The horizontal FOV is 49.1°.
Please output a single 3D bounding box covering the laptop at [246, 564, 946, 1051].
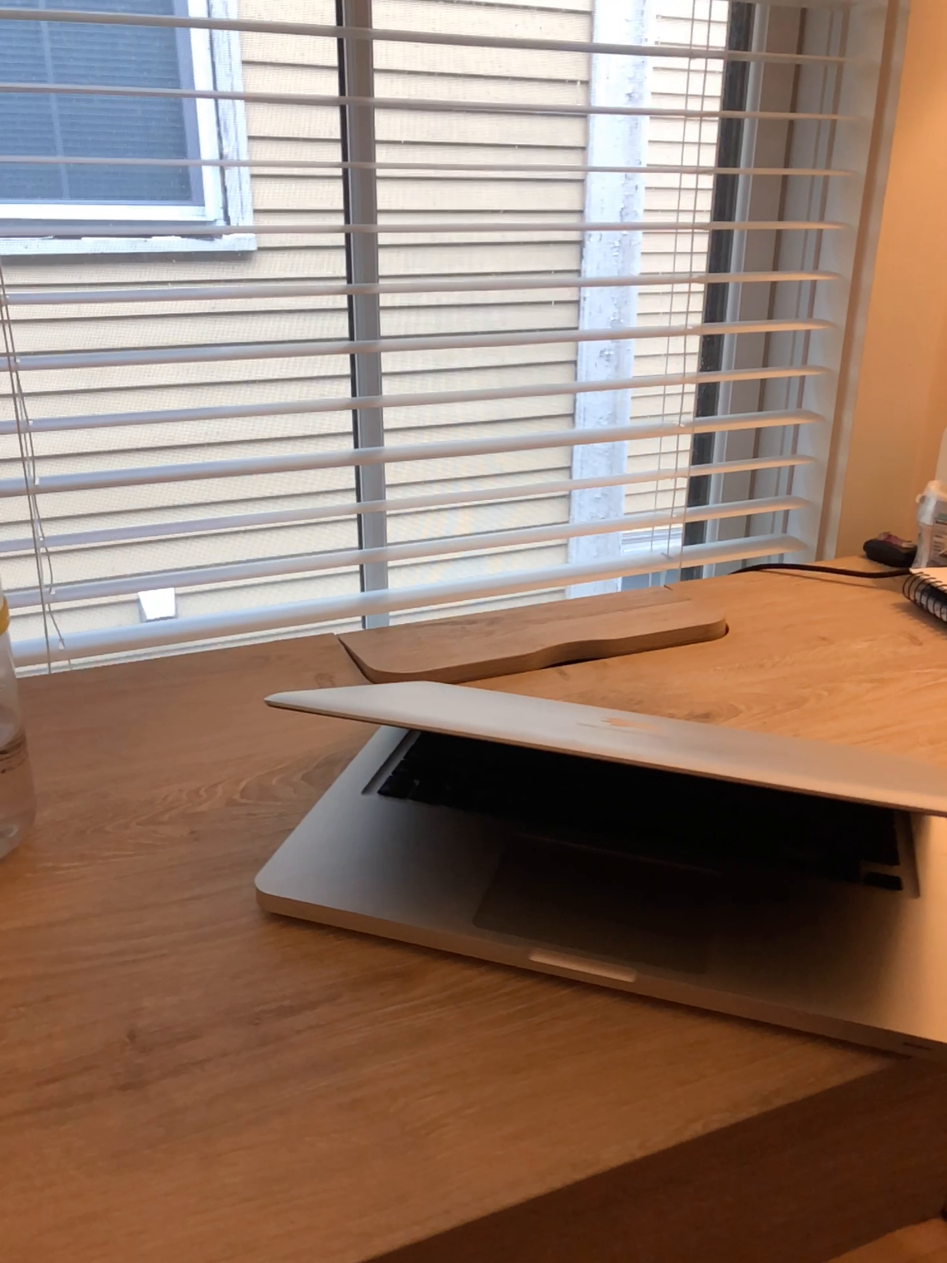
[{"bbox_3d":[0.084,0.059,0.530,0.318,0.089,0.230,7,23,16],"label":"laptop"}]
